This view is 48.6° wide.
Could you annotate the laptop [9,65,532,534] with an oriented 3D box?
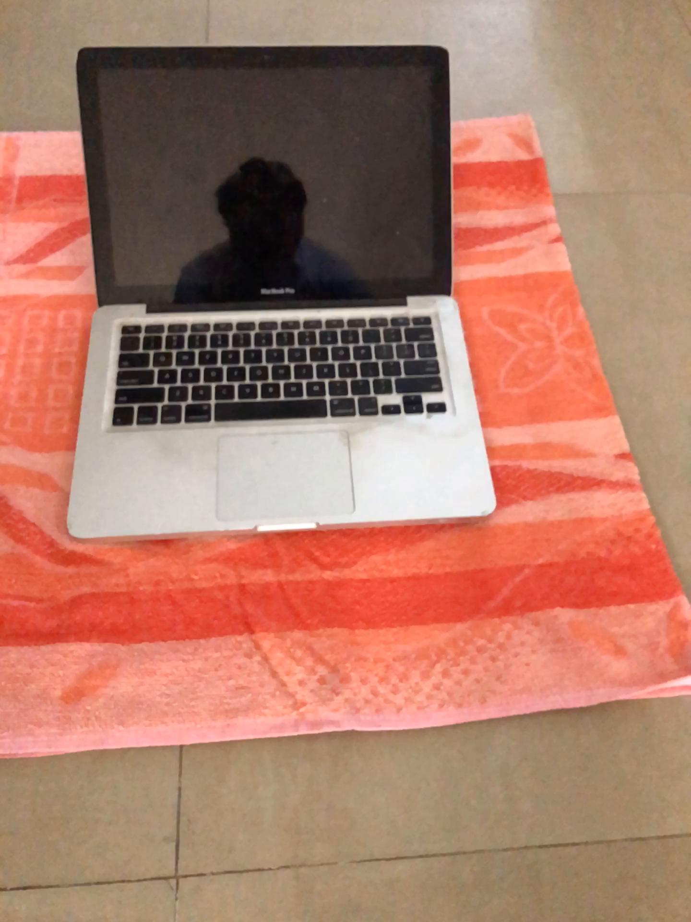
[{"bbox_3d":[-0.056,-0.146,0.611,0.309,0.133,0.374,-3,58,-4],"label":"laptop"}]
